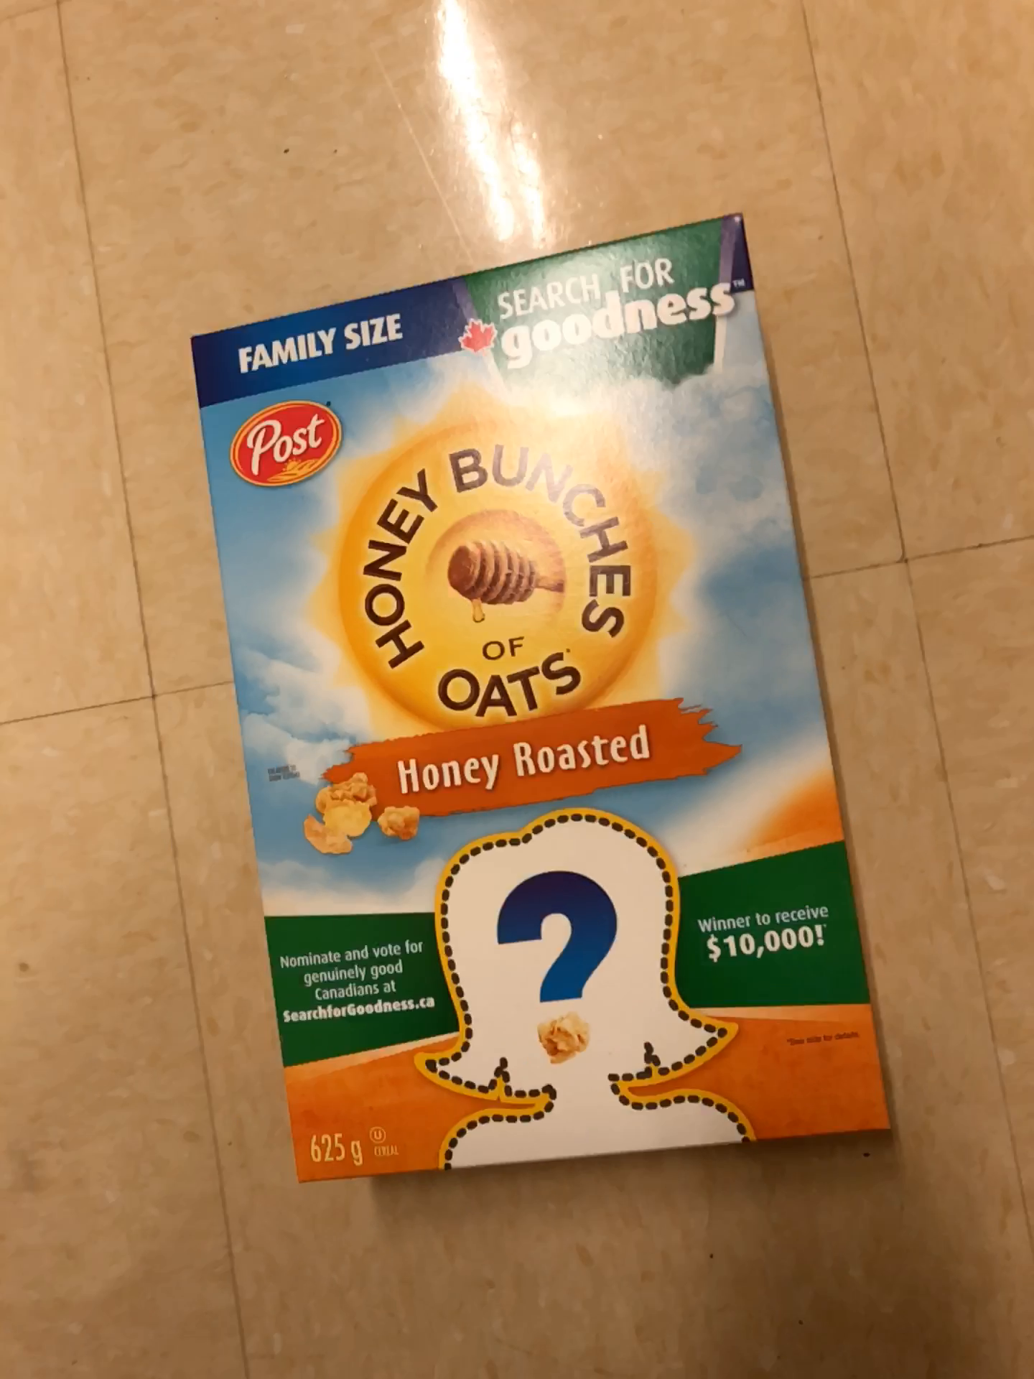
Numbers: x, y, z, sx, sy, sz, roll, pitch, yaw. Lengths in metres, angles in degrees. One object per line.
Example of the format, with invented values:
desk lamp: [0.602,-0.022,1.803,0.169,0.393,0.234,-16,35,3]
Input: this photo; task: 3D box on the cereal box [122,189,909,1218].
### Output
cereal box: [-0.006,0.007,0.386,0.210,0.070,0.290,-9,83,9]
